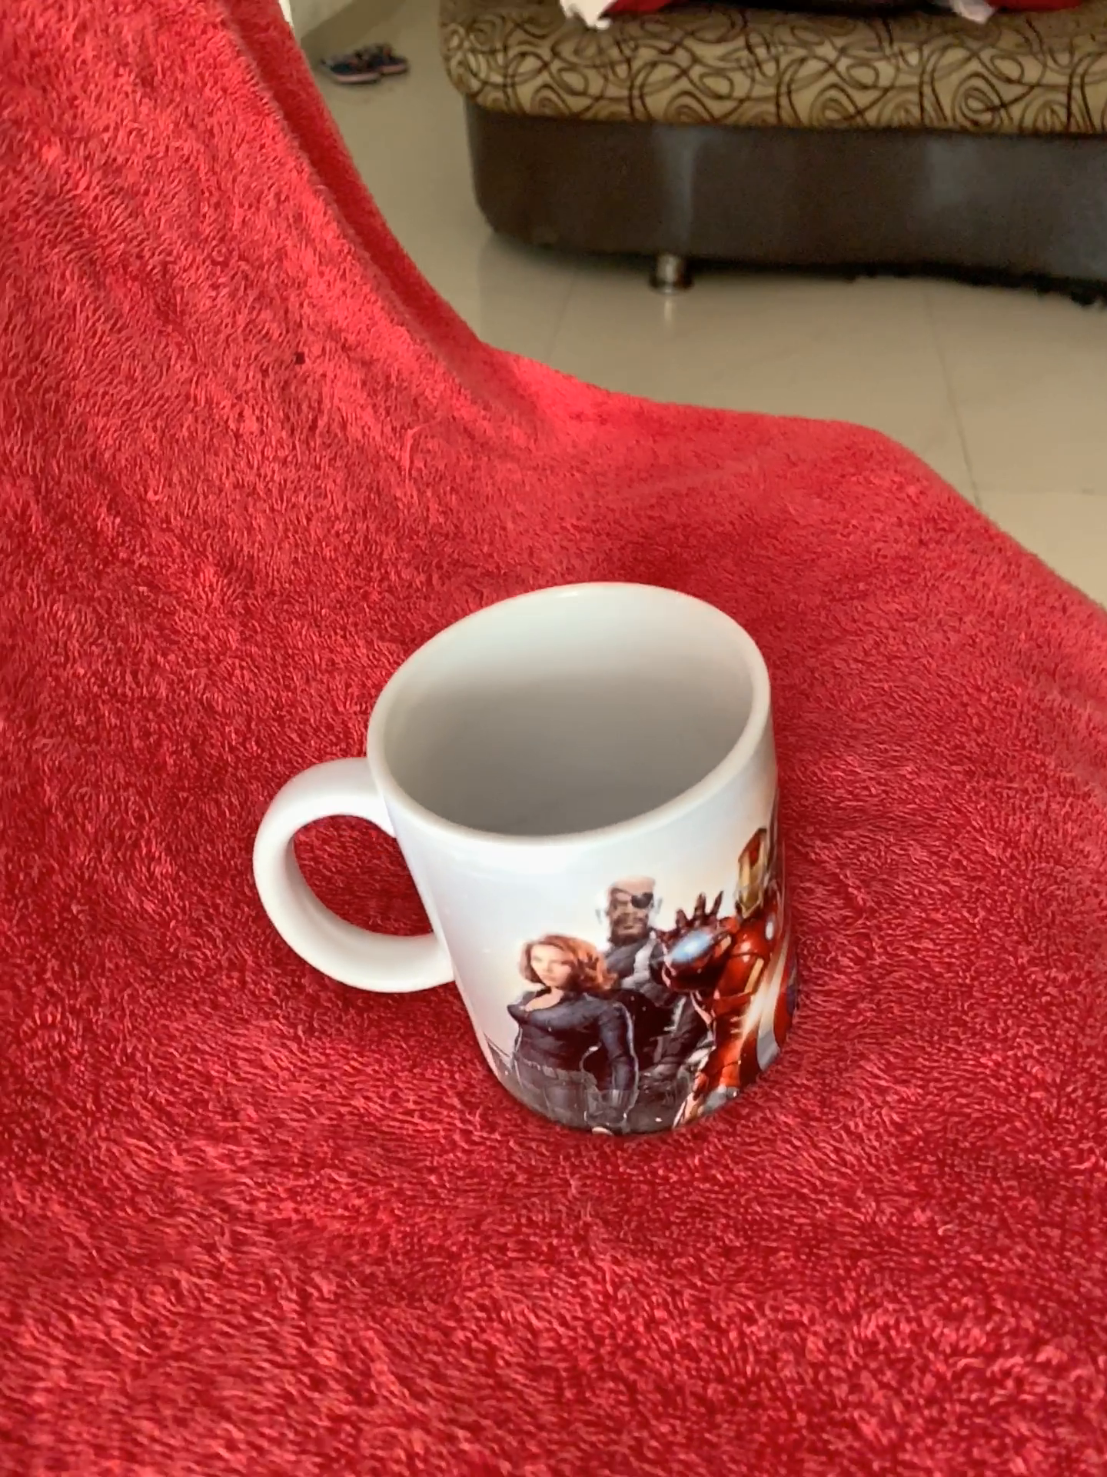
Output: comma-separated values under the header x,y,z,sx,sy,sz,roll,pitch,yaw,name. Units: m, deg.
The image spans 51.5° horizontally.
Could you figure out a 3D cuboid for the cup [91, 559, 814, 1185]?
x,y,z,sx,sy,sz,roll,pitch,yaw,name
-0.008,0.027,0.247,0.120,0.089,0.091,-2,37,11,cup
